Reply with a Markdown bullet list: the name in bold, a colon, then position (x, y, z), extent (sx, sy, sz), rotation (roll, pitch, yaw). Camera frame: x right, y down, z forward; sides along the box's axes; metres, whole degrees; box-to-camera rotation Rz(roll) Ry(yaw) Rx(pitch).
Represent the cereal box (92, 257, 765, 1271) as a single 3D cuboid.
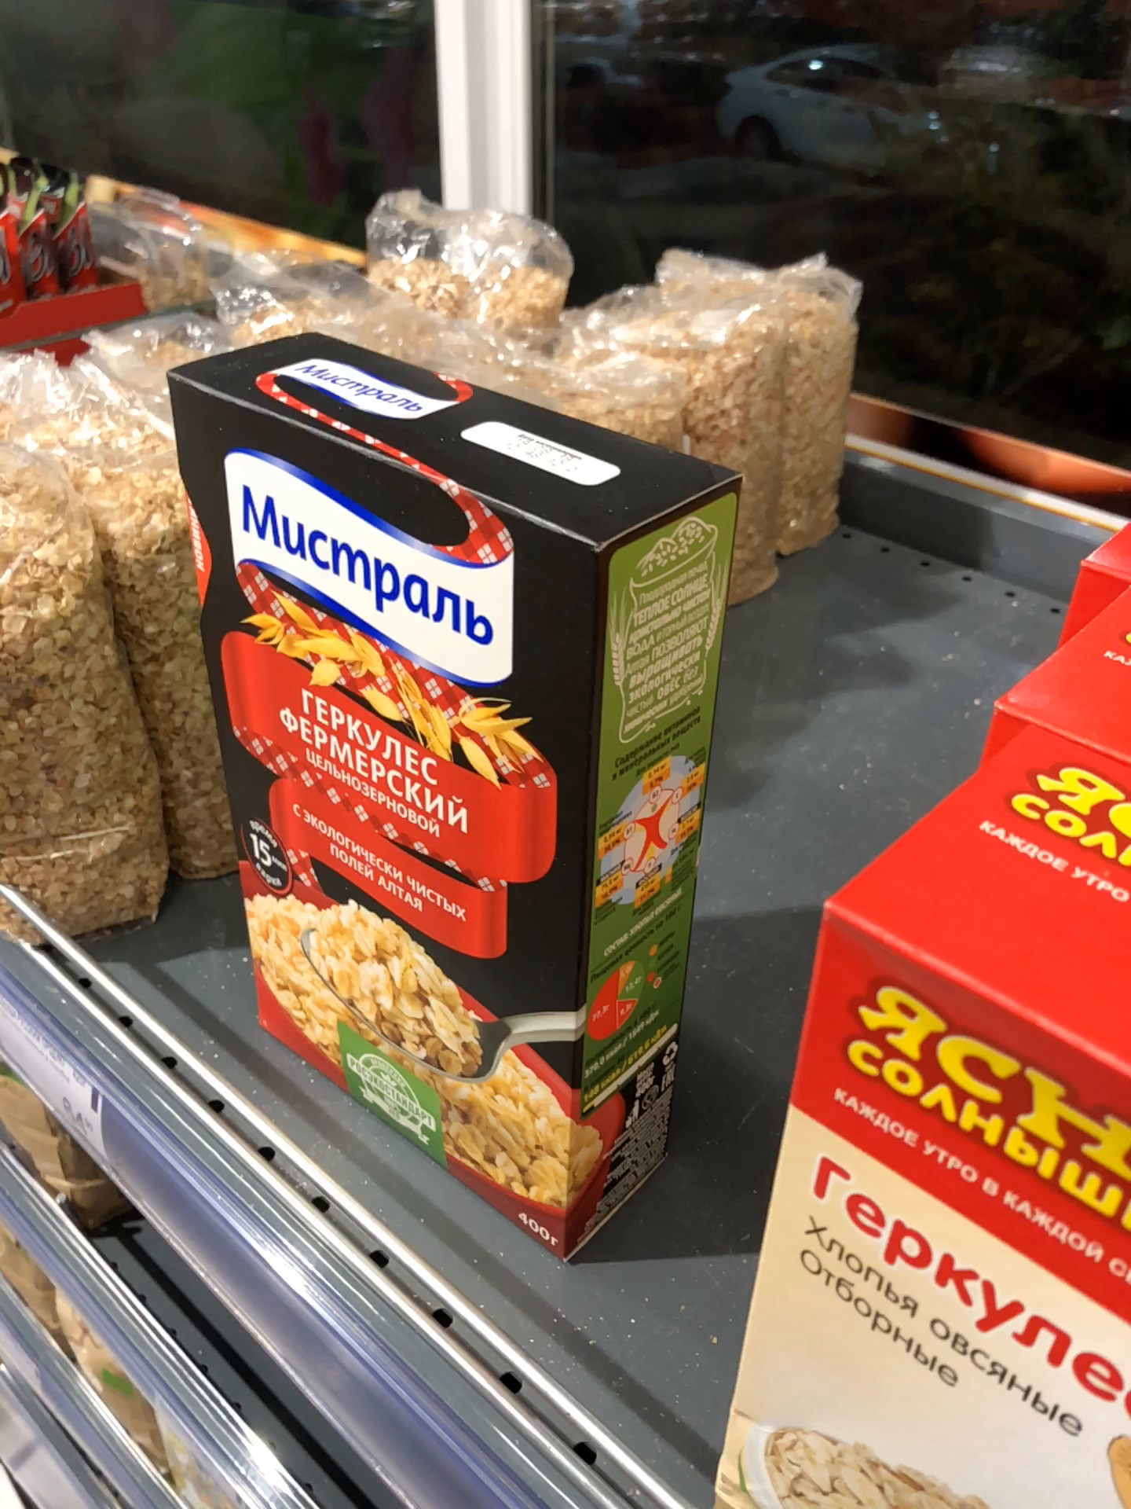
- **cereal box**: position (-0.035, 0.007, 0.315), extent (0.140, 0.219, 0.050), rotation (26, 42, 31)
